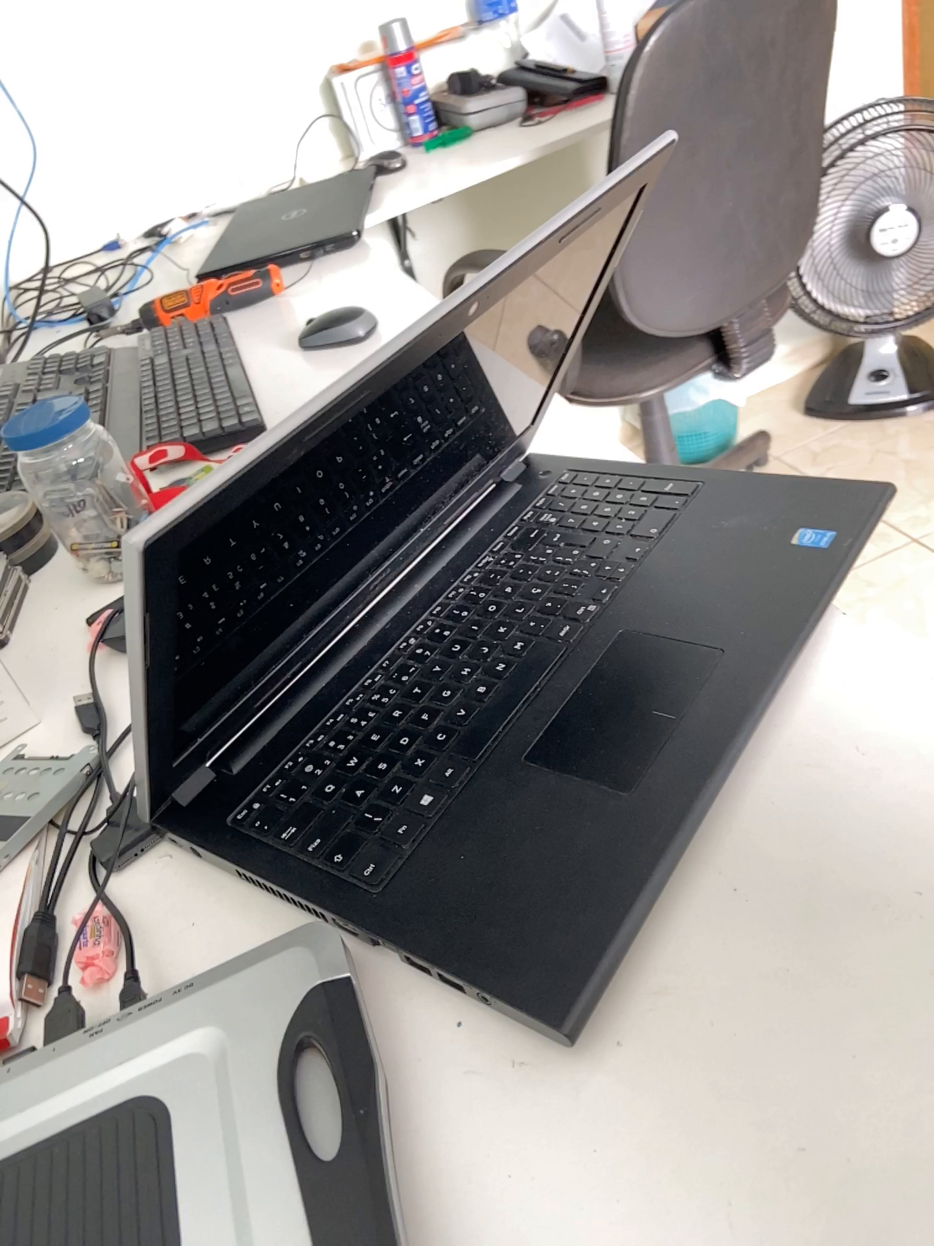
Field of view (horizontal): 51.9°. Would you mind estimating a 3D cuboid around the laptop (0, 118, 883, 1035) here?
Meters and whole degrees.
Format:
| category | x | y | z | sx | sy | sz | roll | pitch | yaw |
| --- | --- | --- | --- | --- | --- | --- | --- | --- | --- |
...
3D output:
| category | x | y | z | sx | sy | sz | roll | pitch | yaw |
| --- | --- | --- | --- | --- | --- | --- | --- | --- | --- |
| laptop | 0.013 | -0.066 | 0.474 | 0.257 | 0.204 | 0.375 | 12 | 45 | 37 |
